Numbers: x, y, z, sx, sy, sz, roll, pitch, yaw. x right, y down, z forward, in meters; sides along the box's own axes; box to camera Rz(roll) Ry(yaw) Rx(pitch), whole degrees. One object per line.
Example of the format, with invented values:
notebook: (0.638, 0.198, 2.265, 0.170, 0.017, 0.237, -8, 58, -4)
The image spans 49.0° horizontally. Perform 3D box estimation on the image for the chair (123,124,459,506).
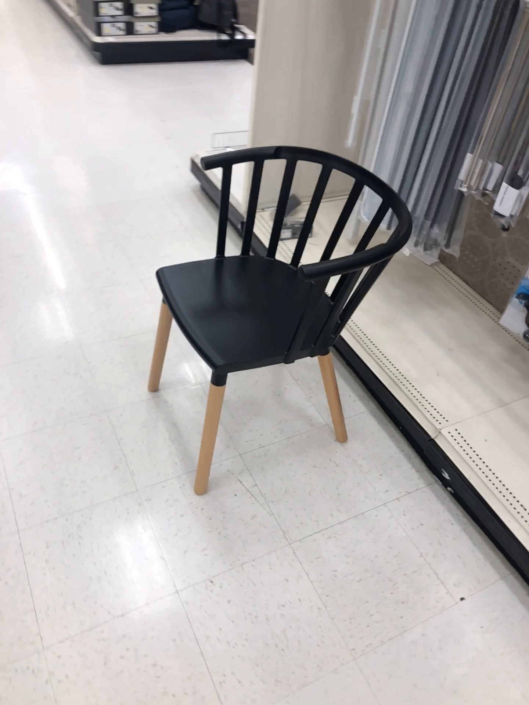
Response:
chair: (0.003, -0.111, 1.524, 0.568, 0.731, 0.536, -14, 46, -23)
